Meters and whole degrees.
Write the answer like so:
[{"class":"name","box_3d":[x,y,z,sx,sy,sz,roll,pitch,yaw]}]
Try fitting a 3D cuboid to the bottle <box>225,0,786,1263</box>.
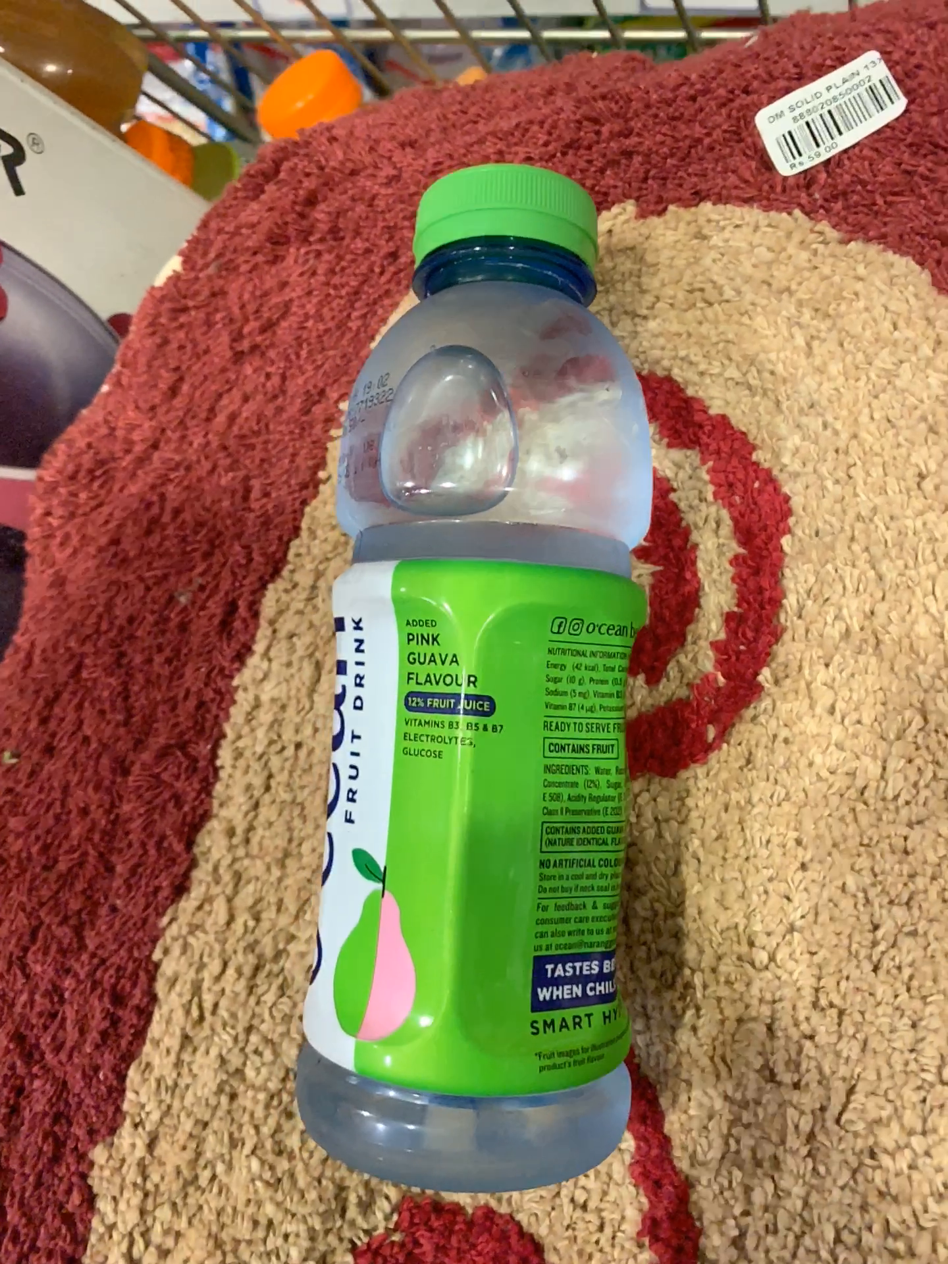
[{"class":"bottle","box_3d":[0.008,-0.002,0.204,0.080,0.070,0.210,-1,85,42]}]
